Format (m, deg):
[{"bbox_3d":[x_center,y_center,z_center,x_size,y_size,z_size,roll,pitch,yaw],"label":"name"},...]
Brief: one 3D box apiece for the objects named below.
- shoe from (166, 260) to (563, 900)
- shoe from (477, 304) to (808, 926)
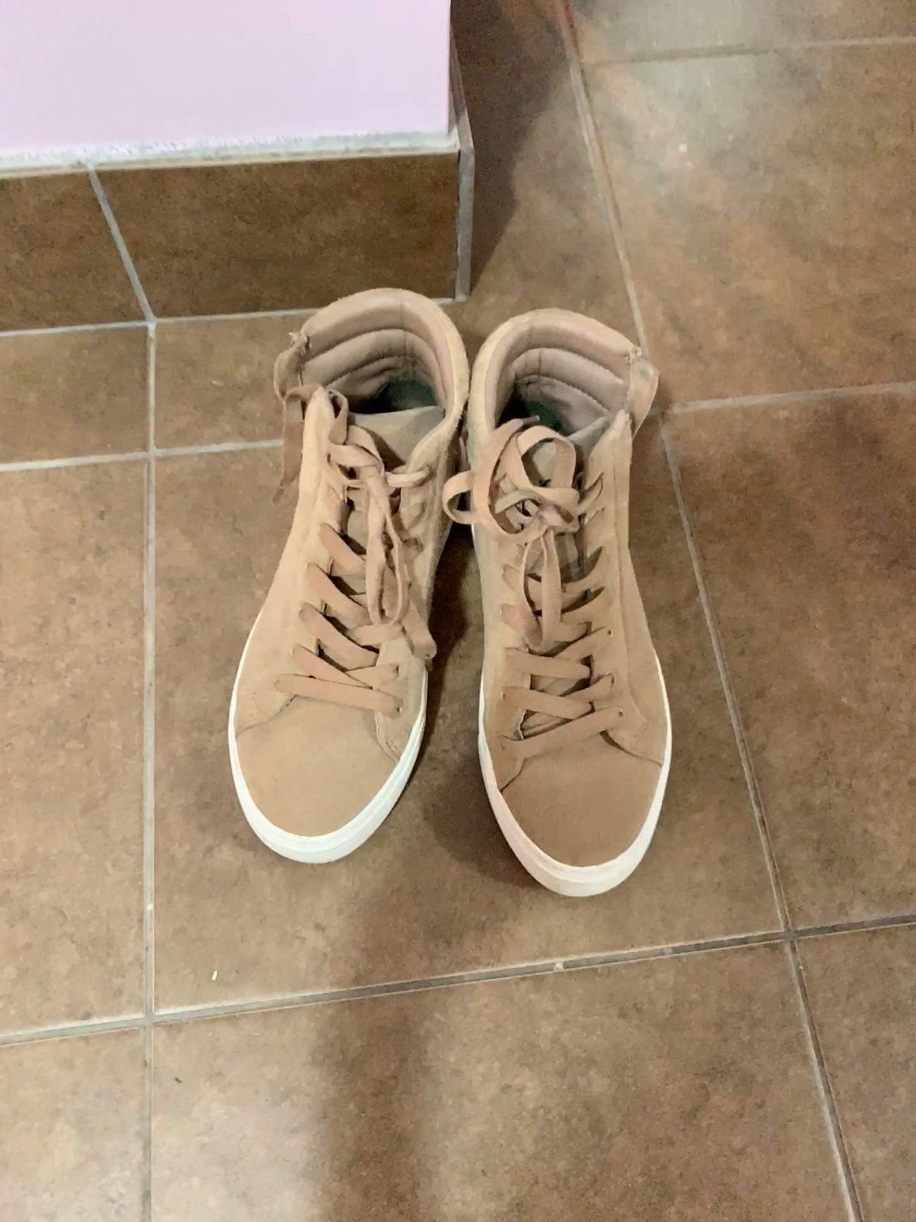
[{"bbox_3d":[-0.029,-0.014,0.431,0.105,0.117,0.254,10,67,3],"label":"shoe"},{"bbox_3d":[0.069,0.003,0.447,0.113,0.120,0.270,1,67,-1],"label":"shoe"}]
